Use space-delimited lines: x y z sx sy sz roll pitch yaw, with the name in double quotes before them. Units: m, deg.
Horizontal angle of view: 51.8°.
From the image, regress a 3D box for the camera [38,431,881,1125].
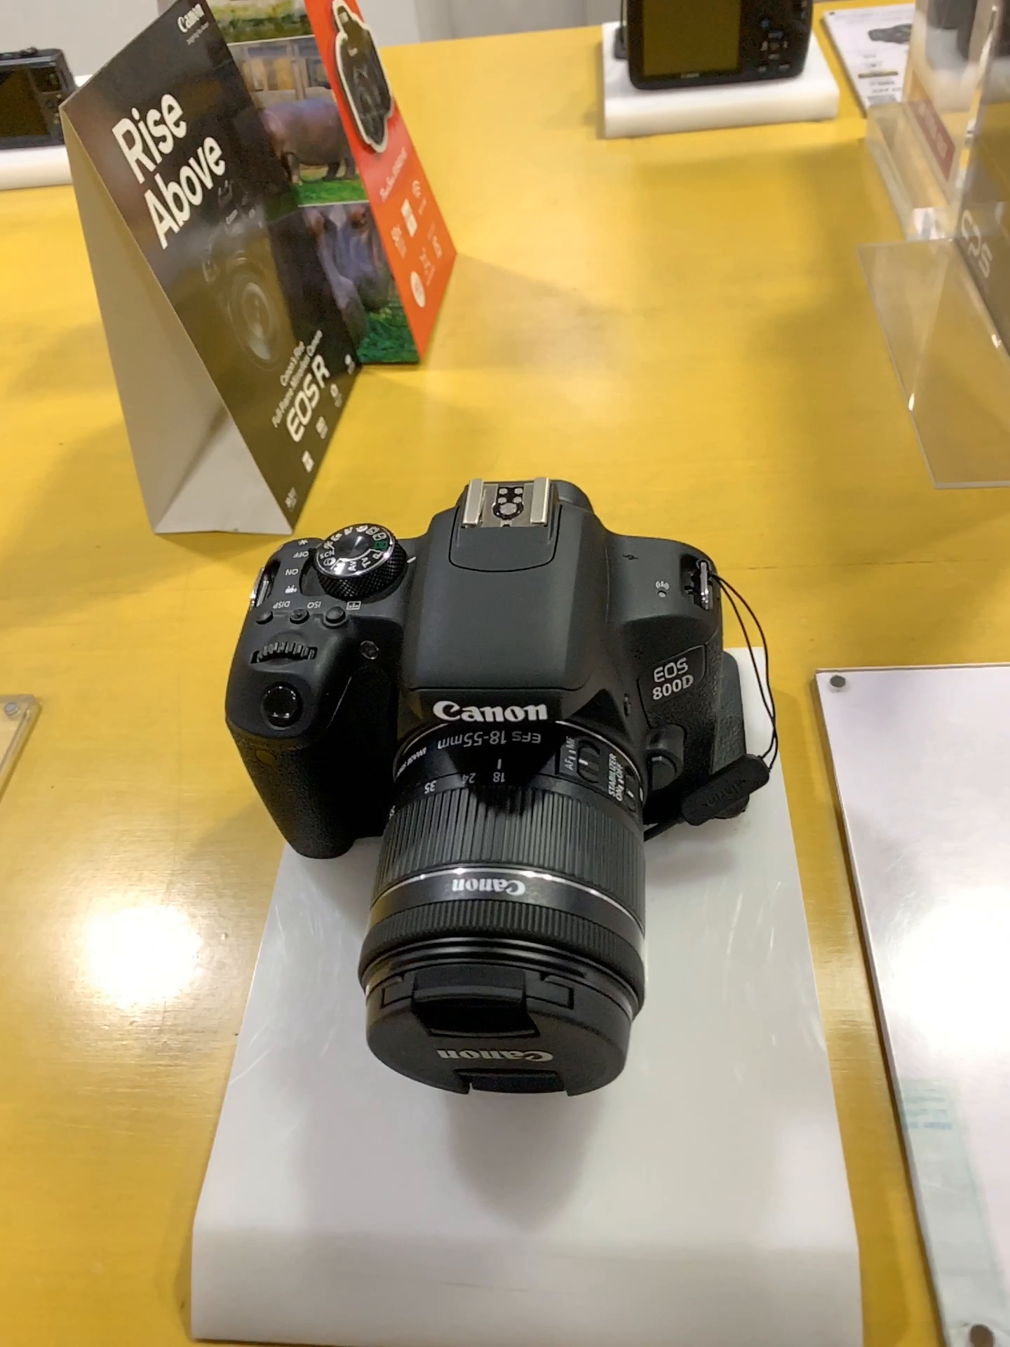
"camera" -0.002 0.022 0.247 0.140 0.090 0.130 -2 47 7
